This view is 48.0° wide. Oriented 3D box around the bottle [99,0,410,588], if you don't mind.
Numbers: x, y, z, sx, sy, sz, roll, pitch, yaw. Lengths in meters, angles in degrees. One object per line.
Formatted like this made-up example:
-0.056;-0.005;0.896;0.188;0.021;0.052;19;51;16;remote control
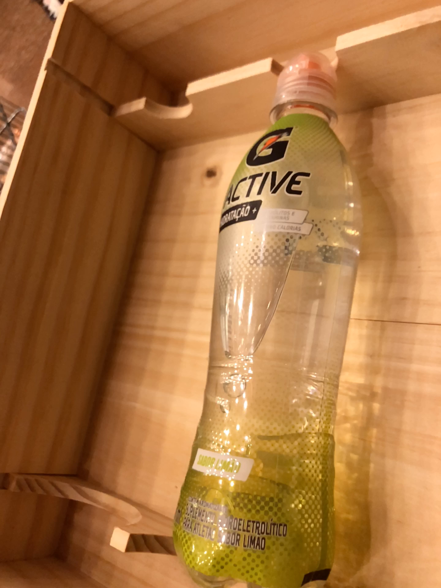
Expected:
0.028;-0.013;0.222;0.070;0.070;0.270;-1;71;37;bottle
